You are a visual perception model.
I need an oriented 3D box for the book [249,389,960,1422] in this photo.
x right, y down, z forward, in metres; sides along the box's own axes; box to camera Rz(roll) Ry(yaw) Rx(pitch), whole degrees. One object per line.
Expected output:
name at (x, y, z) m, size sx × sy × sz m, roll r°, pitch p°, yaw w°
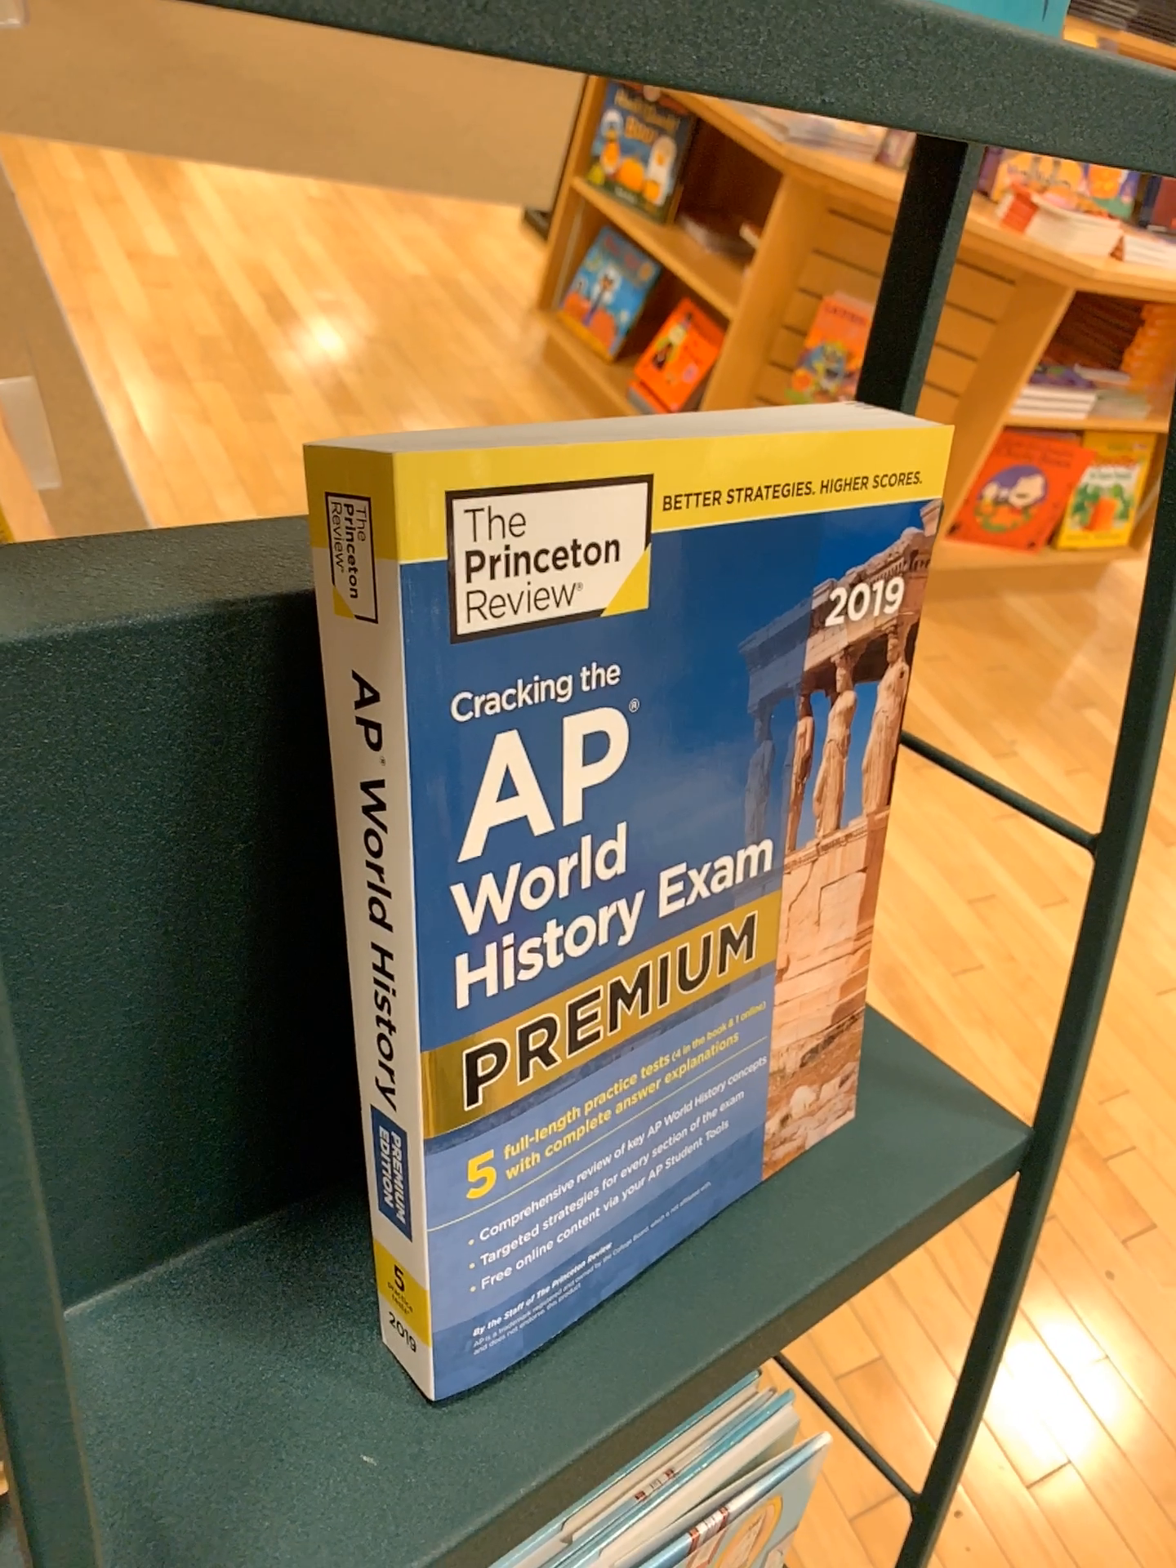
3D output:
book at (0.020, 0.022, 0.385) m, size 0.215 × 0.269 × 0.057 m, roll -18°, pitch 27°, yaw -38°
